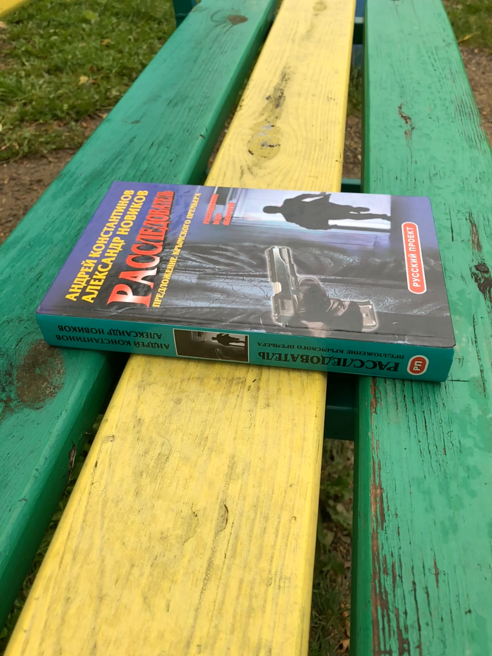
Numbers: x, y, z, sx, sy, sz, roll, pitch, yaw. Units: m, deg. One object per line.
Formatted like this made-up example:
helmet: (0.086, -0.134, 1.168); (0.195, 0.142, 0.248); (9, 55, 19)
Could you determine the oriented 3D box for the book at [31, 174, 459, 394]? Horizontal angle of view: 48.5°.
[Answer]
book: (0.005, -0.035, 0.314); (0.201, 0.031, 0.139); (5, 44, 6)
